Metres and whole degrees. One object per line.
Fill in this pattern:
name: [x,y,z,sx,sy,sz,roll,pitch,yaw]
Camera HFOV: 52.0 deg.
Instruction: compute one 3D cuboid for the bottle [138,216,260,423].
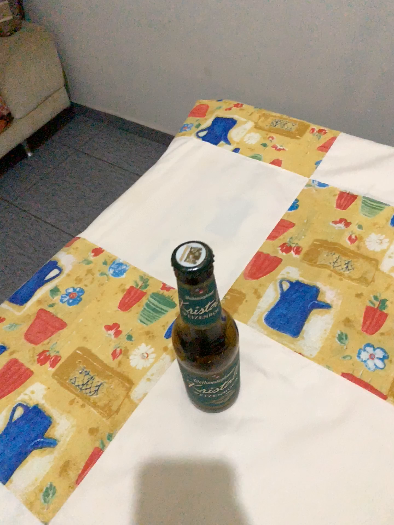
bottle: [0.009,0.068,0.354,0.070,0.229,0.060,-12,52,-2]
